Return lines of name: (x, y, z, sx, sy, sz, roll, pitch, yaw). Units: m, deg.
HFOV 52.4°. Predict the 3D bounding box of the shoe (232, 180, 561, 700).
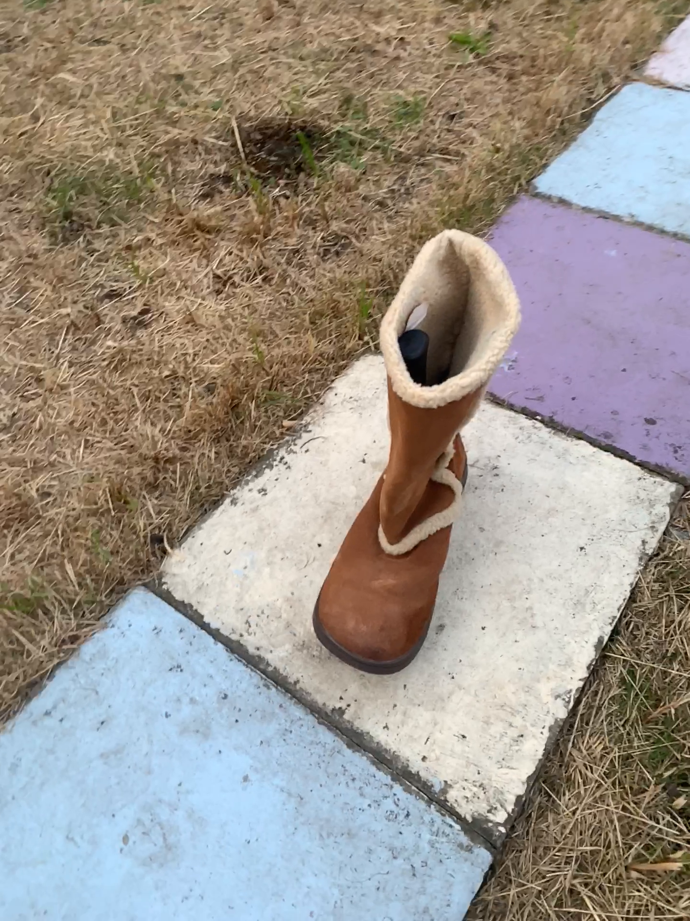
shoe: (0.050, -0.005, 0.552, 0.110, 0.297, 0.262, 20, 55, 17)
